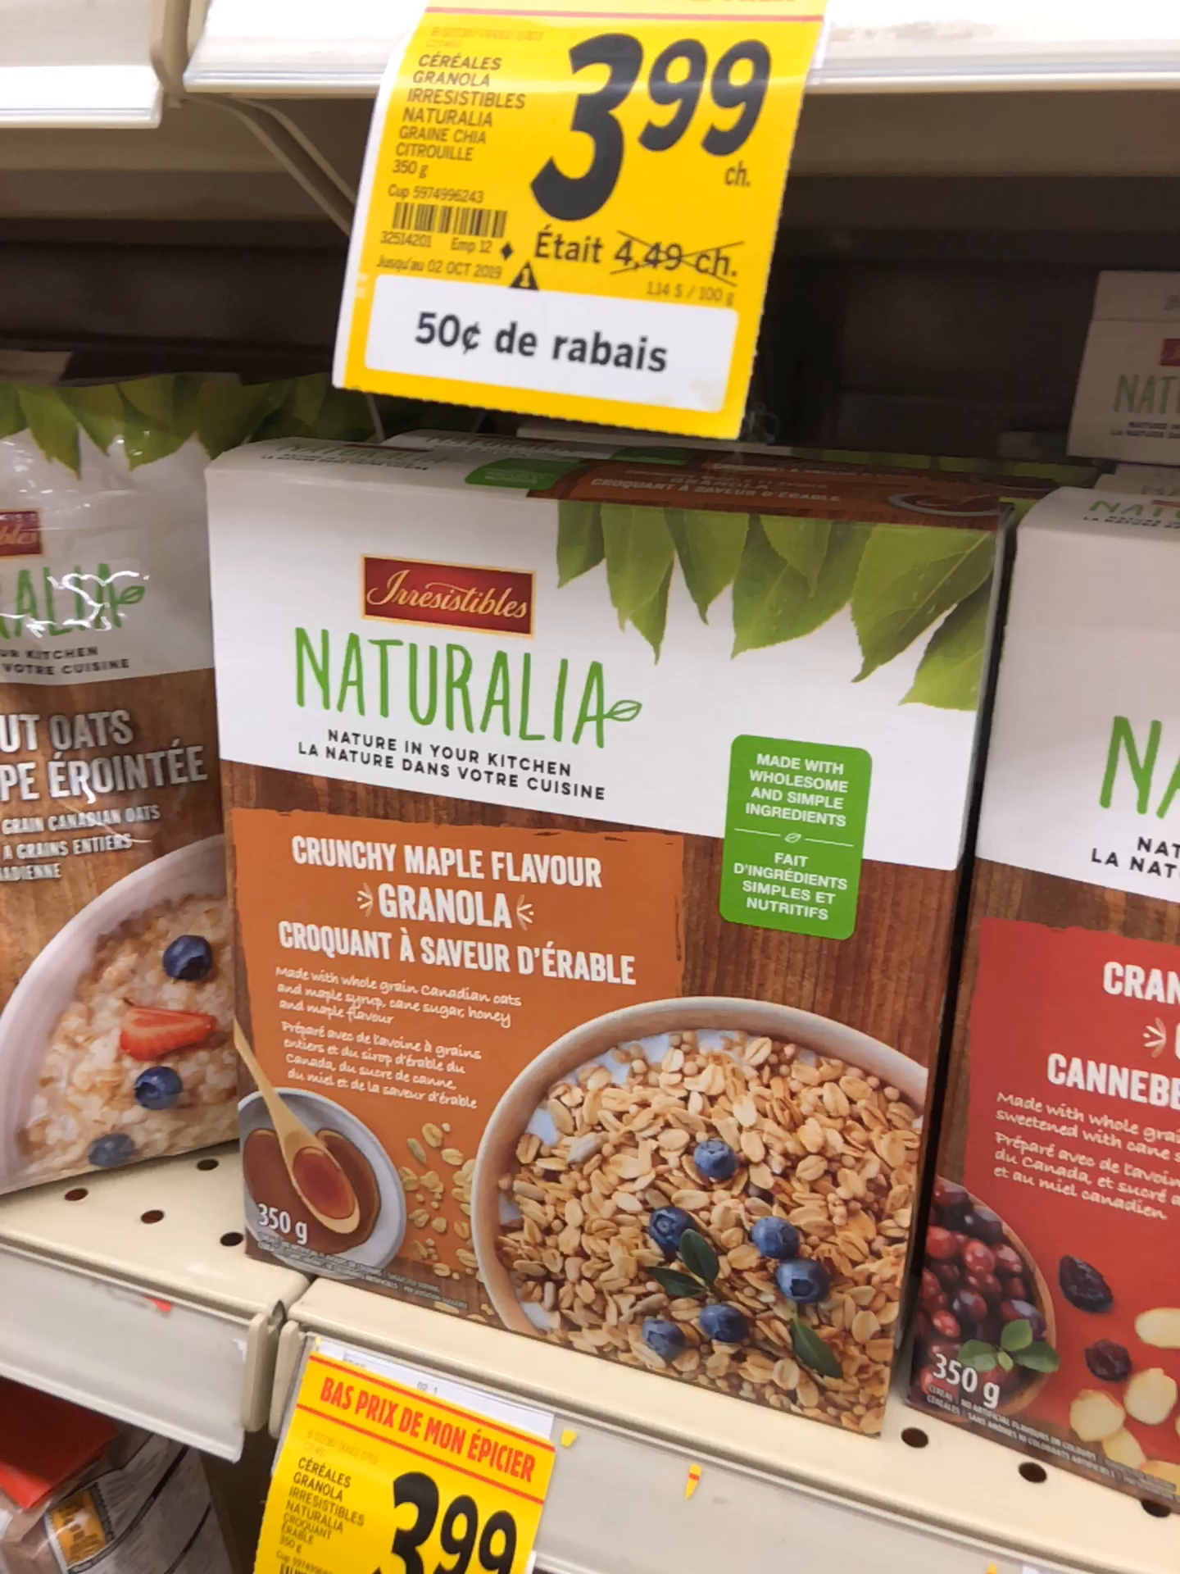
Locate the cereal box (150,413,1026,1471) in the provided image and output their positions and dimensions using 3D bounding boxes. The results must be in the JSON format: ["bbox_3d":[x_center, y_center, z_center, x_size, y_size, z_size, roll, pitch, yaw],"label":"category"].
[{"bbox_3d":[-0.005,0.029,0.298,0.170,0.209,0.050,9,20,18],"label":"cereal box"}]
